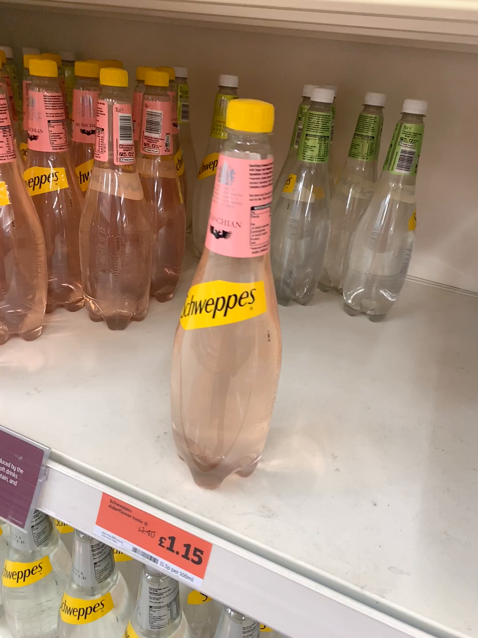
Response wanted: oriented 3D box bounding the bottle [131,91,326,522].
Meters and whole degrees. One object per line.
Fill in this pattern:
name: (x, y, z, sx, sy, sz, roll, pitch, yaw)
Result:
bottle: (-0.018, -0.002, 0.369, 0.085, 0.299, 0.090, 5, 27, -3)
